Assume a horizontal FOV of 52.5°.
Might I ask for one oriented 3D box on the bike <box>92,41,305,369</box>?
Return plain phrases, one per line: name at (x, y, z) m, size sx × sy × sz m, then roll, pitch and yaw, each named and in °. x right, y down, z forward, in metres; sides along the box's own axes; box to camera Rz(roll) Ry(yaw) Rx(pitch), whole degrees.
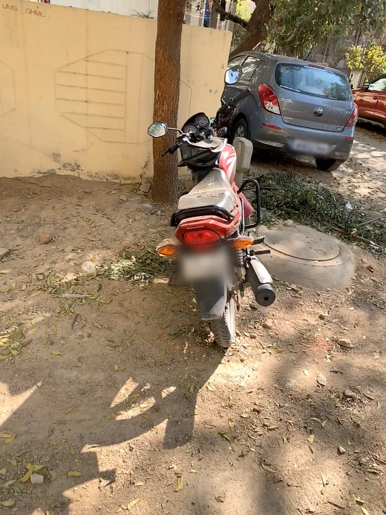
bike at (-0.108, -0.483, 2.367) m, size 0.775 × 1.179 × 1.650 m, roll 4°, pitch 32°, yaw -7°
